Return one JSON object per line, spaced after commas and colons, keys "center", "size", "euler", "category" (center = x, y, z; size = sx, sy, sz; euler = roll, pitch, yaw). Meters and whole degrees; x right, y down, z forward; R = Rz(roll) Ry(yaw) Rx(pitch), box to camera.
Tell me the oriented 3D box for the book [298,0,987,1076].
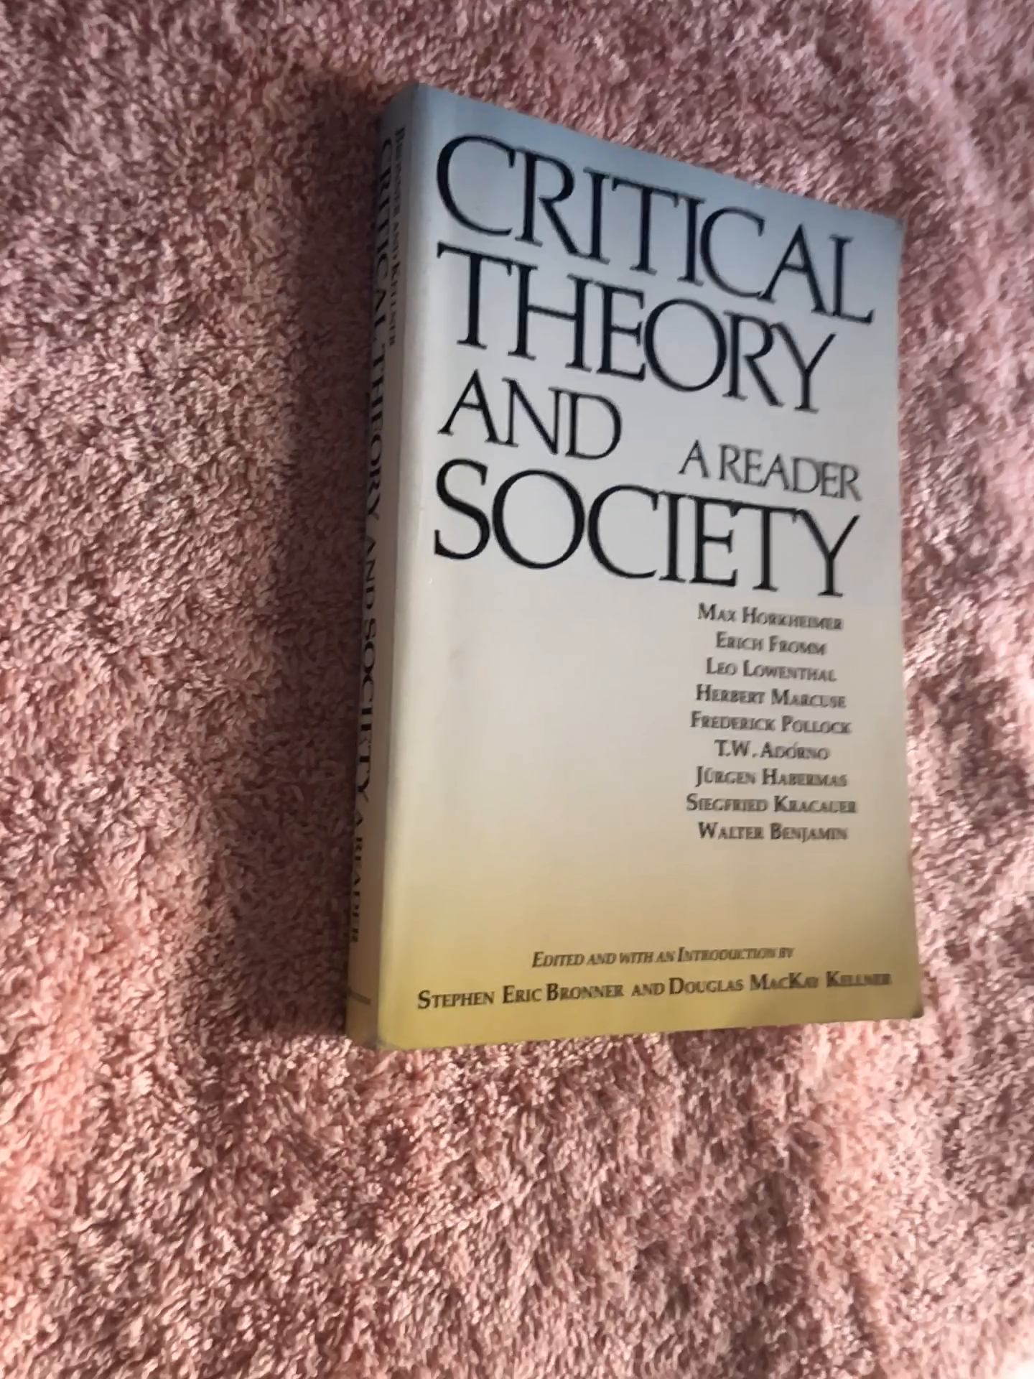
{"center": [0.038, -0.031, 0.297], "size": [0.171, 0.050, 0.230], "euler": [4, 84, -26], "category": "book"}
